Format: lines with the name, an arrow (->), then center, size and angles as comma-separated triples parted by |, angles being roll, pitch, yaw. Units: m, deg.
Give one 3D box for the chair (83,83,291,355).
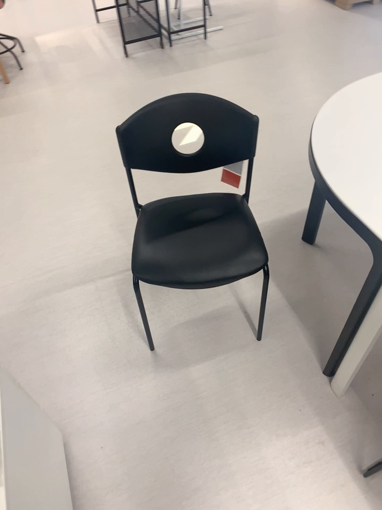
chair -> -0.017, -0.104, 1.415 | 0.510, 0.737, 0.582 | -7, 48, -1
